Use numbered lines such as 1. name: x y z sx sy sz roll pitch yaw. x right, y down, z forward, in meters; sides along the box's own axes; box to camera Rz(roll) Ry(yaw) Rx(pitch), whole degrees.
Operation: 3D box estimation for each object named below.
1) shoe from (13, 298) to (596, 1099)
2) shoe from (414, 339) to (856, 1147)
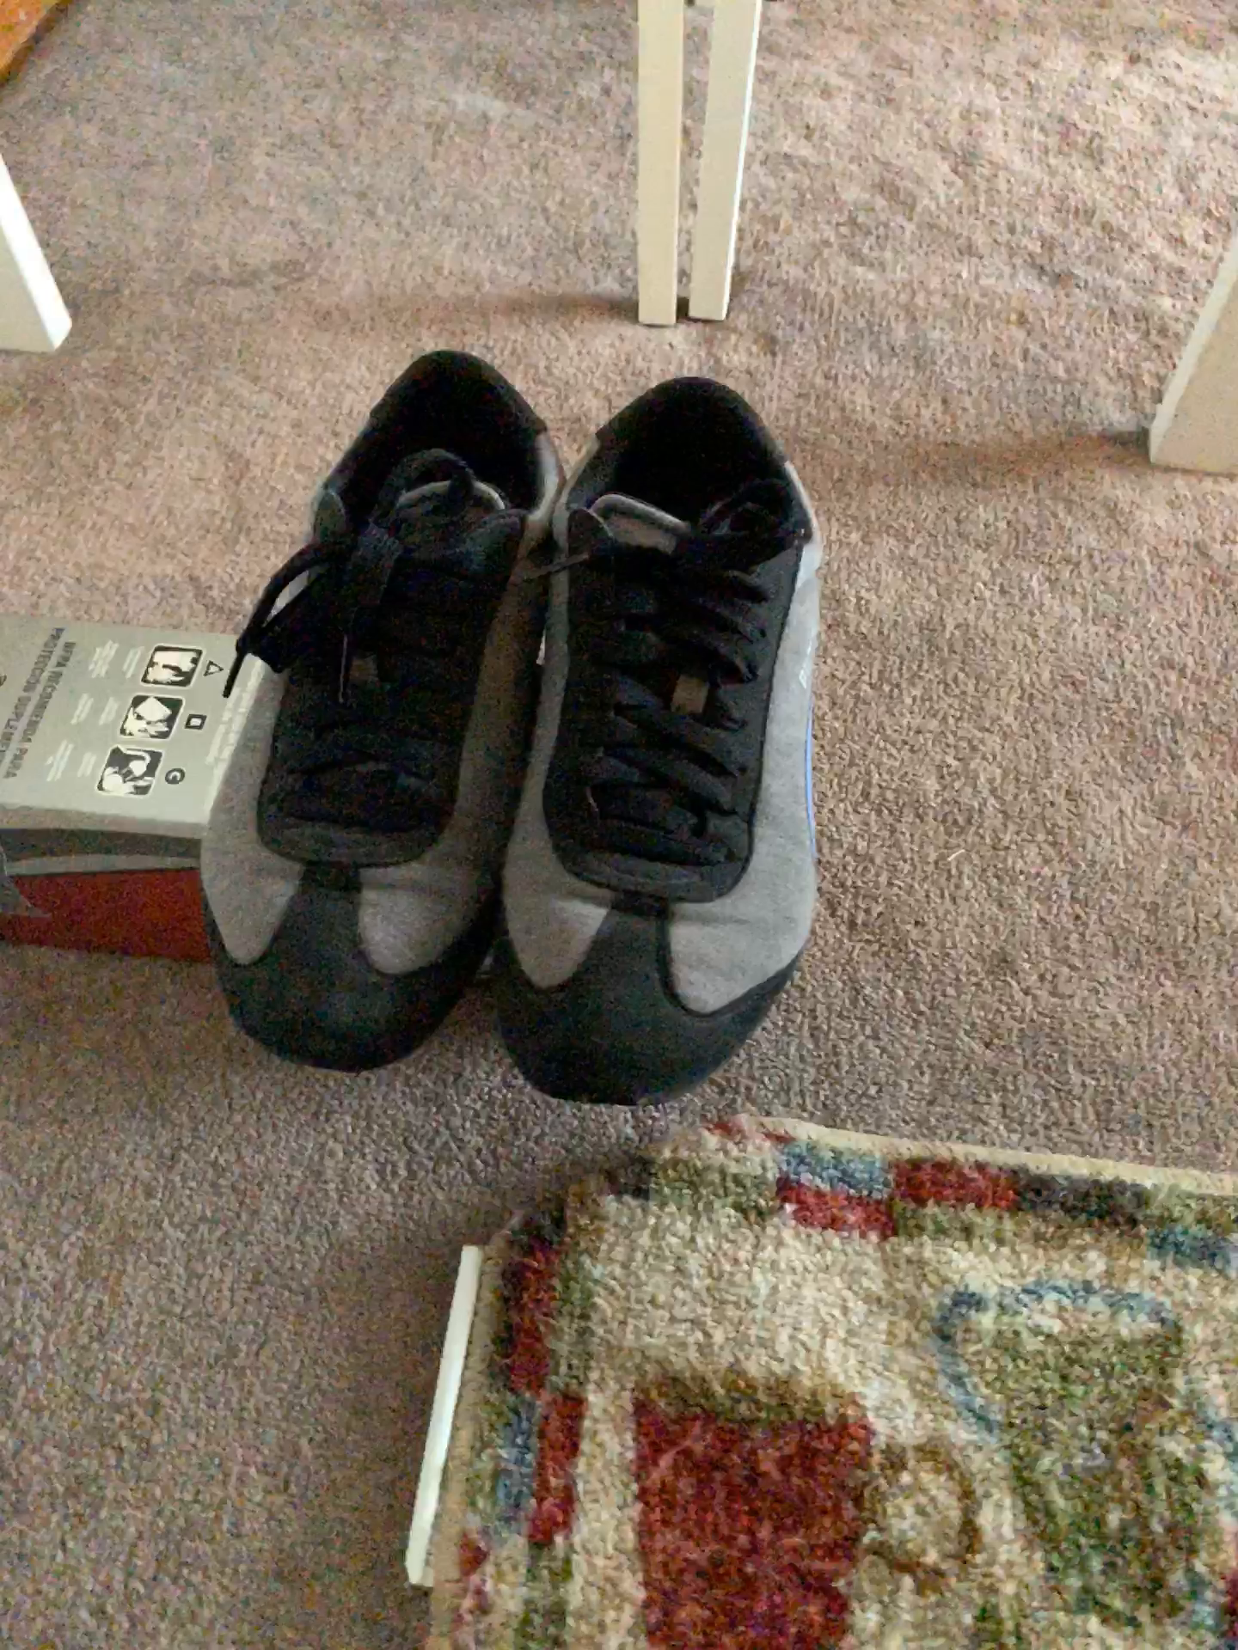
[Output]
1. shoe: -0.078 -0.049 0.399 0.110 0.077 0.242 6 60 3
2. shoe: 0.018 -0.039 0.399 0.100 0.077 0.252 4 58 7
